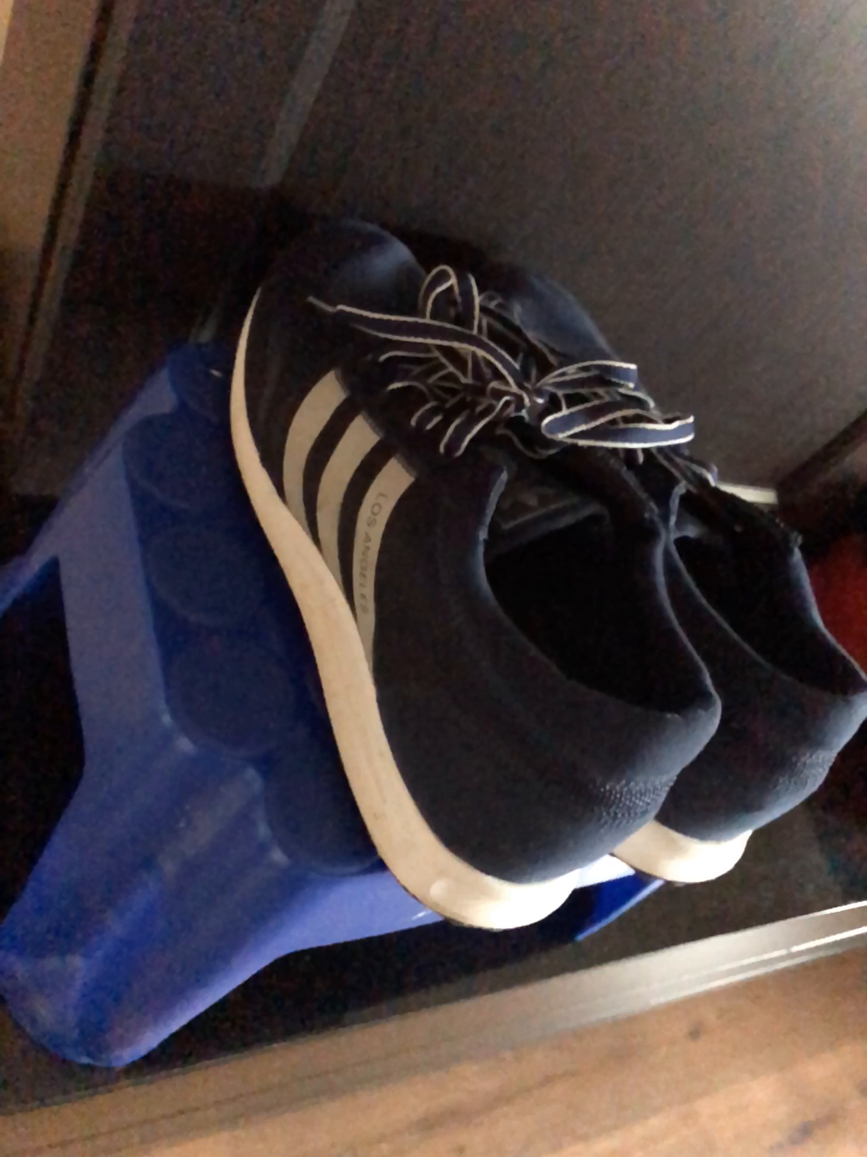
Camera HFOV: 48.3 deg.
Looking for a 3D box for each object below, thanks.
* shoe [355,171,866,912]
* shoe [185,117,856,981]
[{"bbox_3d":[0.071,-0.022,0.391,0.110,0.109,0.261,2,56,-33],"label":"shoe"},{"bbox_3d":[0.009,-0.019,0.341,0.110,0.109,0.261,-1,58,-35],"label":"shoe"}]
